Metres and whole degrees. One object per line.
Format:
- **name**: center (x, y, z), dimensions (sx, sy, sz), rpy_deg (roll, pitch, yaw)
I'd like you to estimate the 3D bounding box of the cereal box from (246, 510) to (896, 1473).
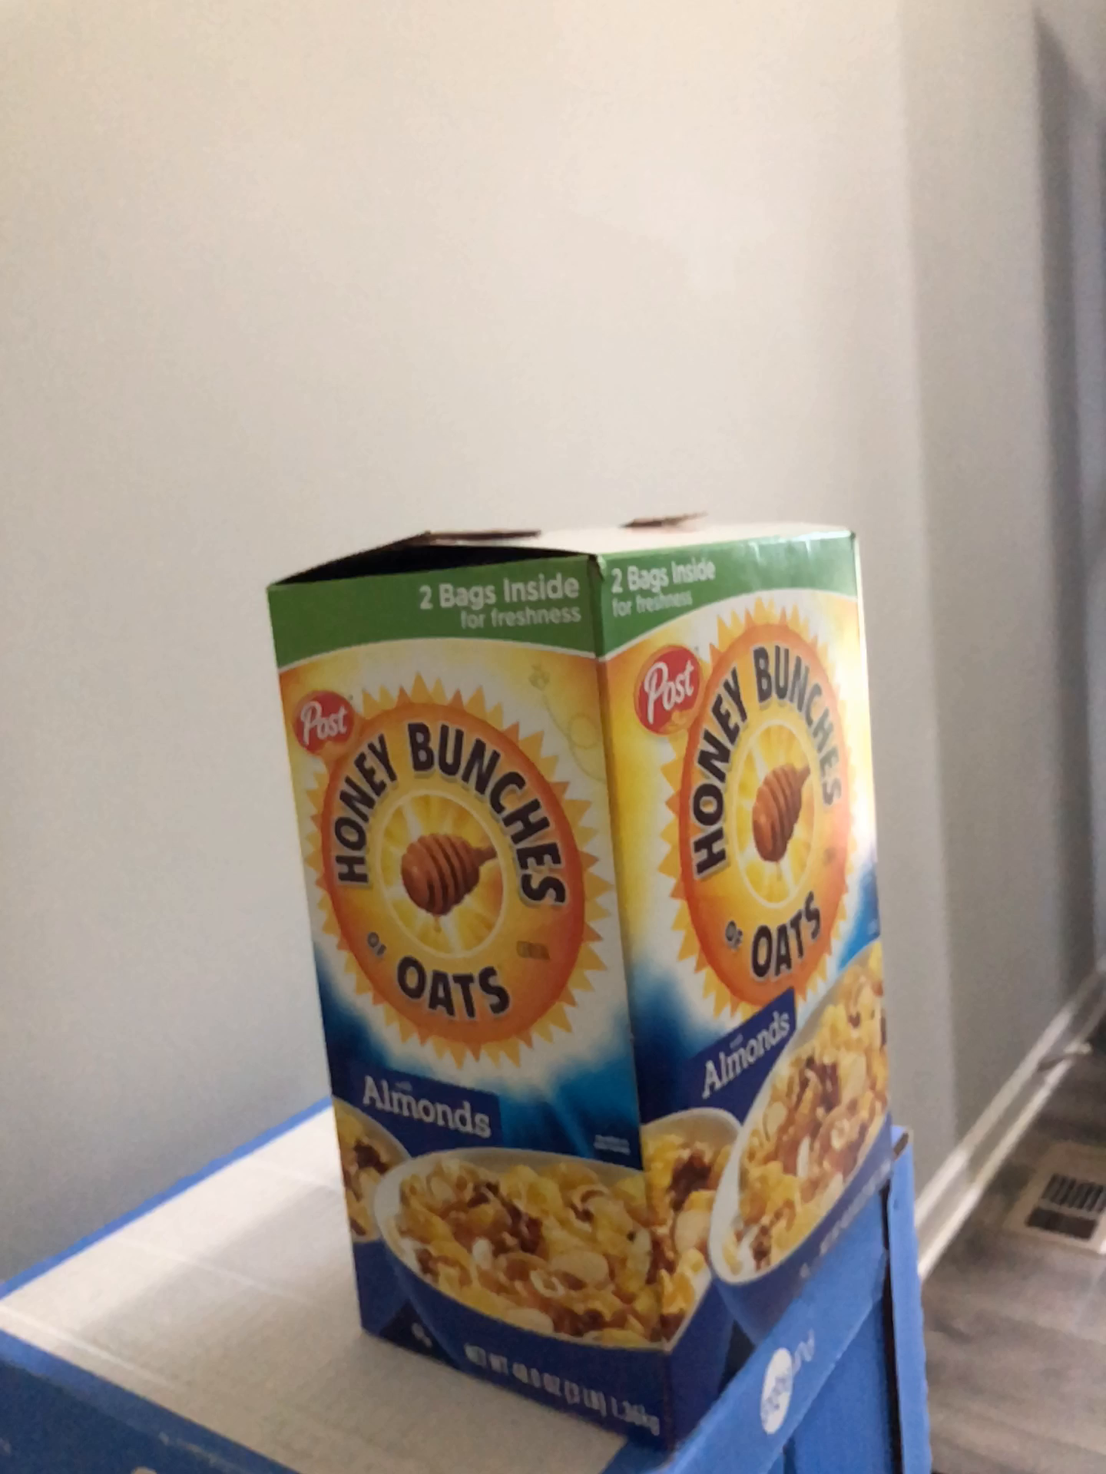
- **cereal box**: center (0.023, 0.070, 0.496), dimensions (0.150, 0.300, 0.200), rpy_deg (0, 10, 35)
